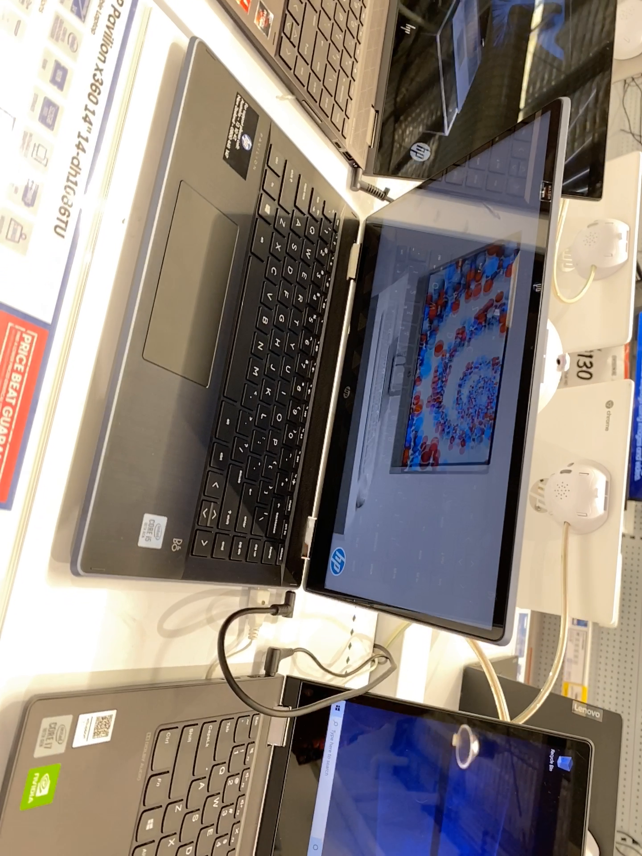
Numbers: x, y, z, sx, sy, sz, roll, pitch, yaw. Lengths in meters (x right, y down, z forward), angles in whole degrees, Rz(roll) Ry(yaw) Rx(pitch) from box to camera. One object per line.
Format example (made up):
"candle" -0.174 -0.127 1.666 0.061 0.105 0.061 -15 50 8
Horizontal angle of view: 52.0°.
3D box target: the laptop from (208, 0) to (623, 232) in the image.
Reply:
"laptop" 0.115 -0.391 0.528 0.326 0.173 0.325 25 69 -54

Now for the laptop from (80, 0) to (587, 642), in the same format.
"laptop" 0.034 -0.052 0.407 0.212 0.189 0.313 25 71 -56

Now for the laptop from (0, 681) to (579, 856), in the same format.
"laptop" -0.005 0.325 0.354 0.296 0.199 0.306 29 67 -55
